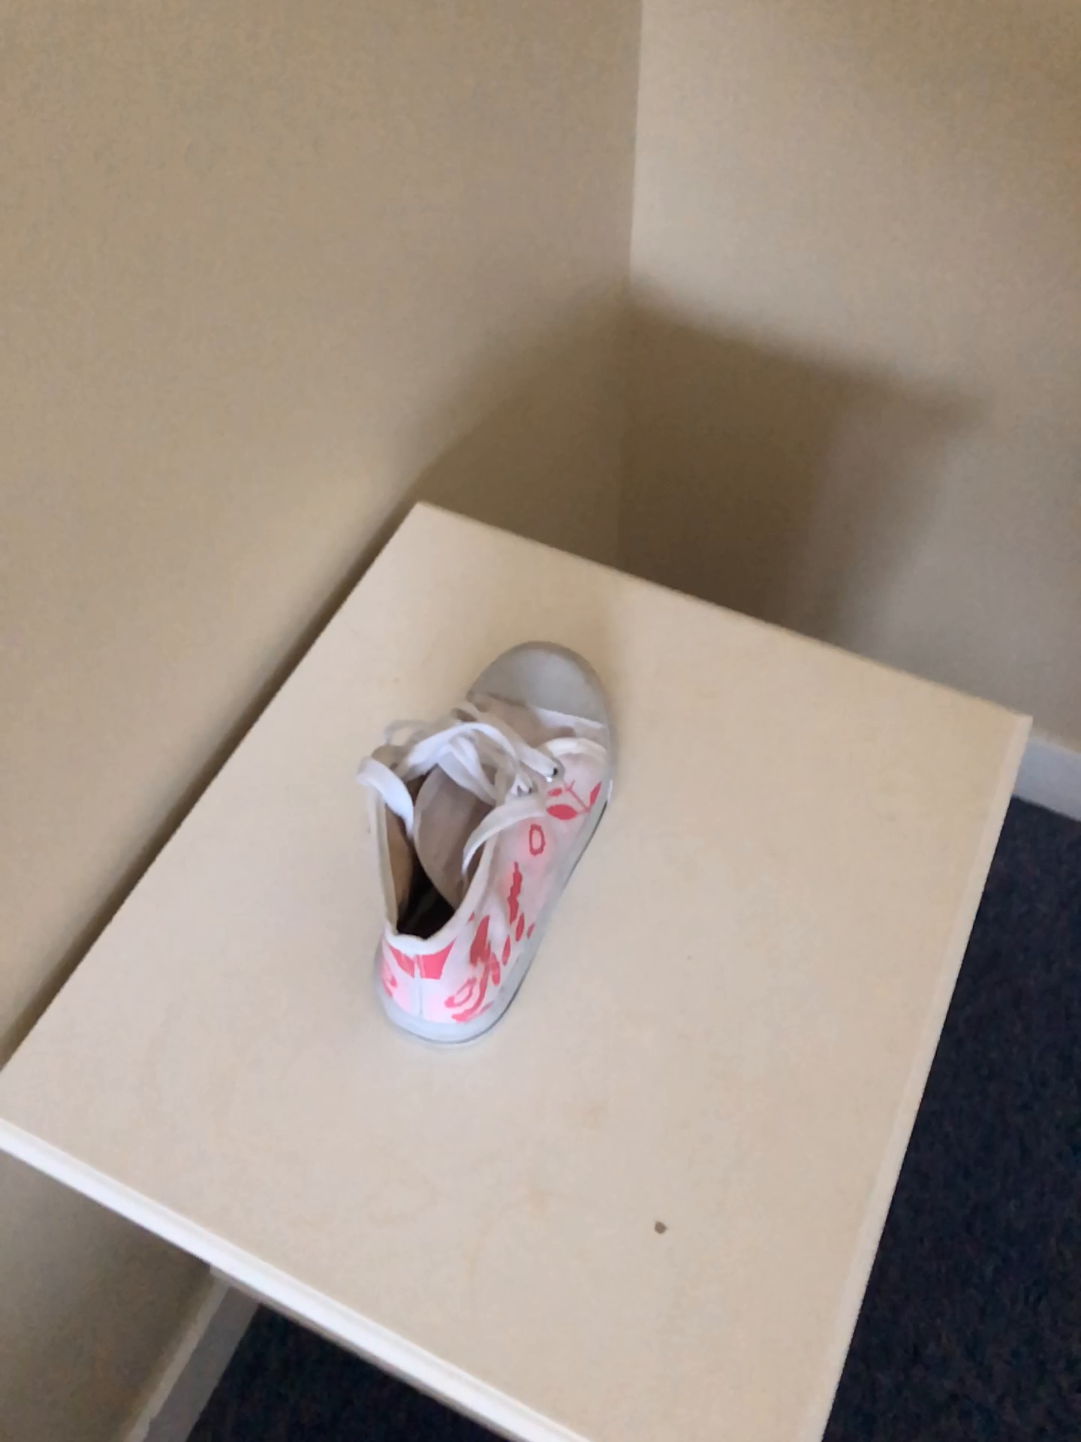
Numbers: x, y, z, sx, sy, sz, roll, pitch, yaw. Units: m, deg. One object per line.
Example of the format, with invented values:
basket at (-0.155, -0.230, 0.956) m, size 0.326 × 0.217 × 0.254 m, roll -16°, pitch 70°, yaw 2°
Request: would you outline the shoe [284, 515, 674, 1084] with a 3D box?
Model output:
shoe at (-0.015, 0.027, 0.480) m, size 0.080 × 0.100 × 0.191 m, roll 16°, pitch 58°, yaw 12°
